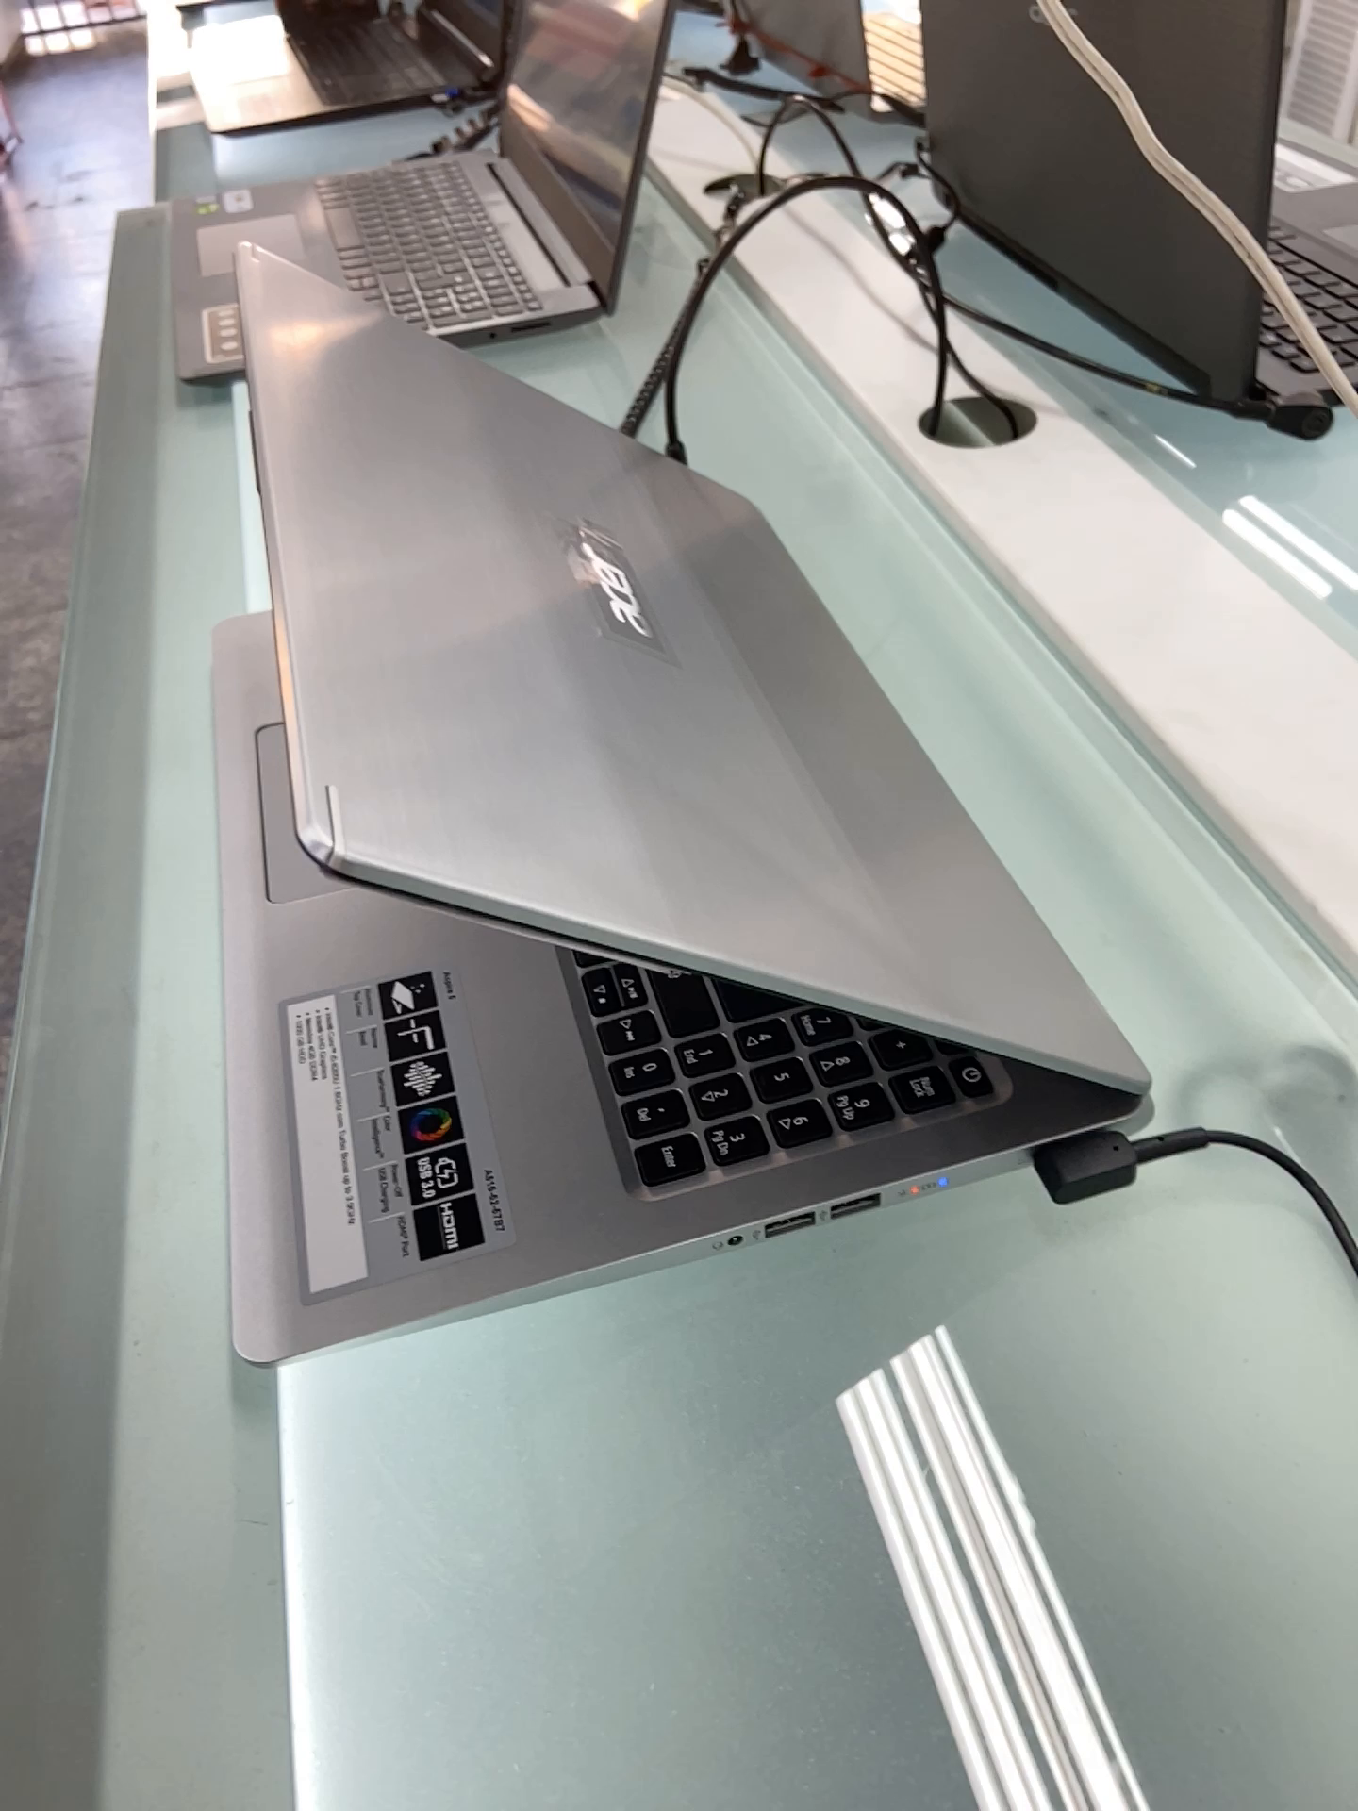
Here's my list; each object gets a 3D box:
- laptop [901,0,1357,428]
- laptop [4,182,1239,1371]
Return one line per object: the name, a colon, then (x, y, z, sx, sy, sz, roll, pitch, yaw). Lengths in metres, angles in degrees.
laptop: (0.315, -0.476, 0.735, 0.264, 0.250, 0.365, -15, 44, -7)
laptop: (-0.047, -0.083, 0.436, 0.236, 0.138, 0.362, -14, 43, -8)
